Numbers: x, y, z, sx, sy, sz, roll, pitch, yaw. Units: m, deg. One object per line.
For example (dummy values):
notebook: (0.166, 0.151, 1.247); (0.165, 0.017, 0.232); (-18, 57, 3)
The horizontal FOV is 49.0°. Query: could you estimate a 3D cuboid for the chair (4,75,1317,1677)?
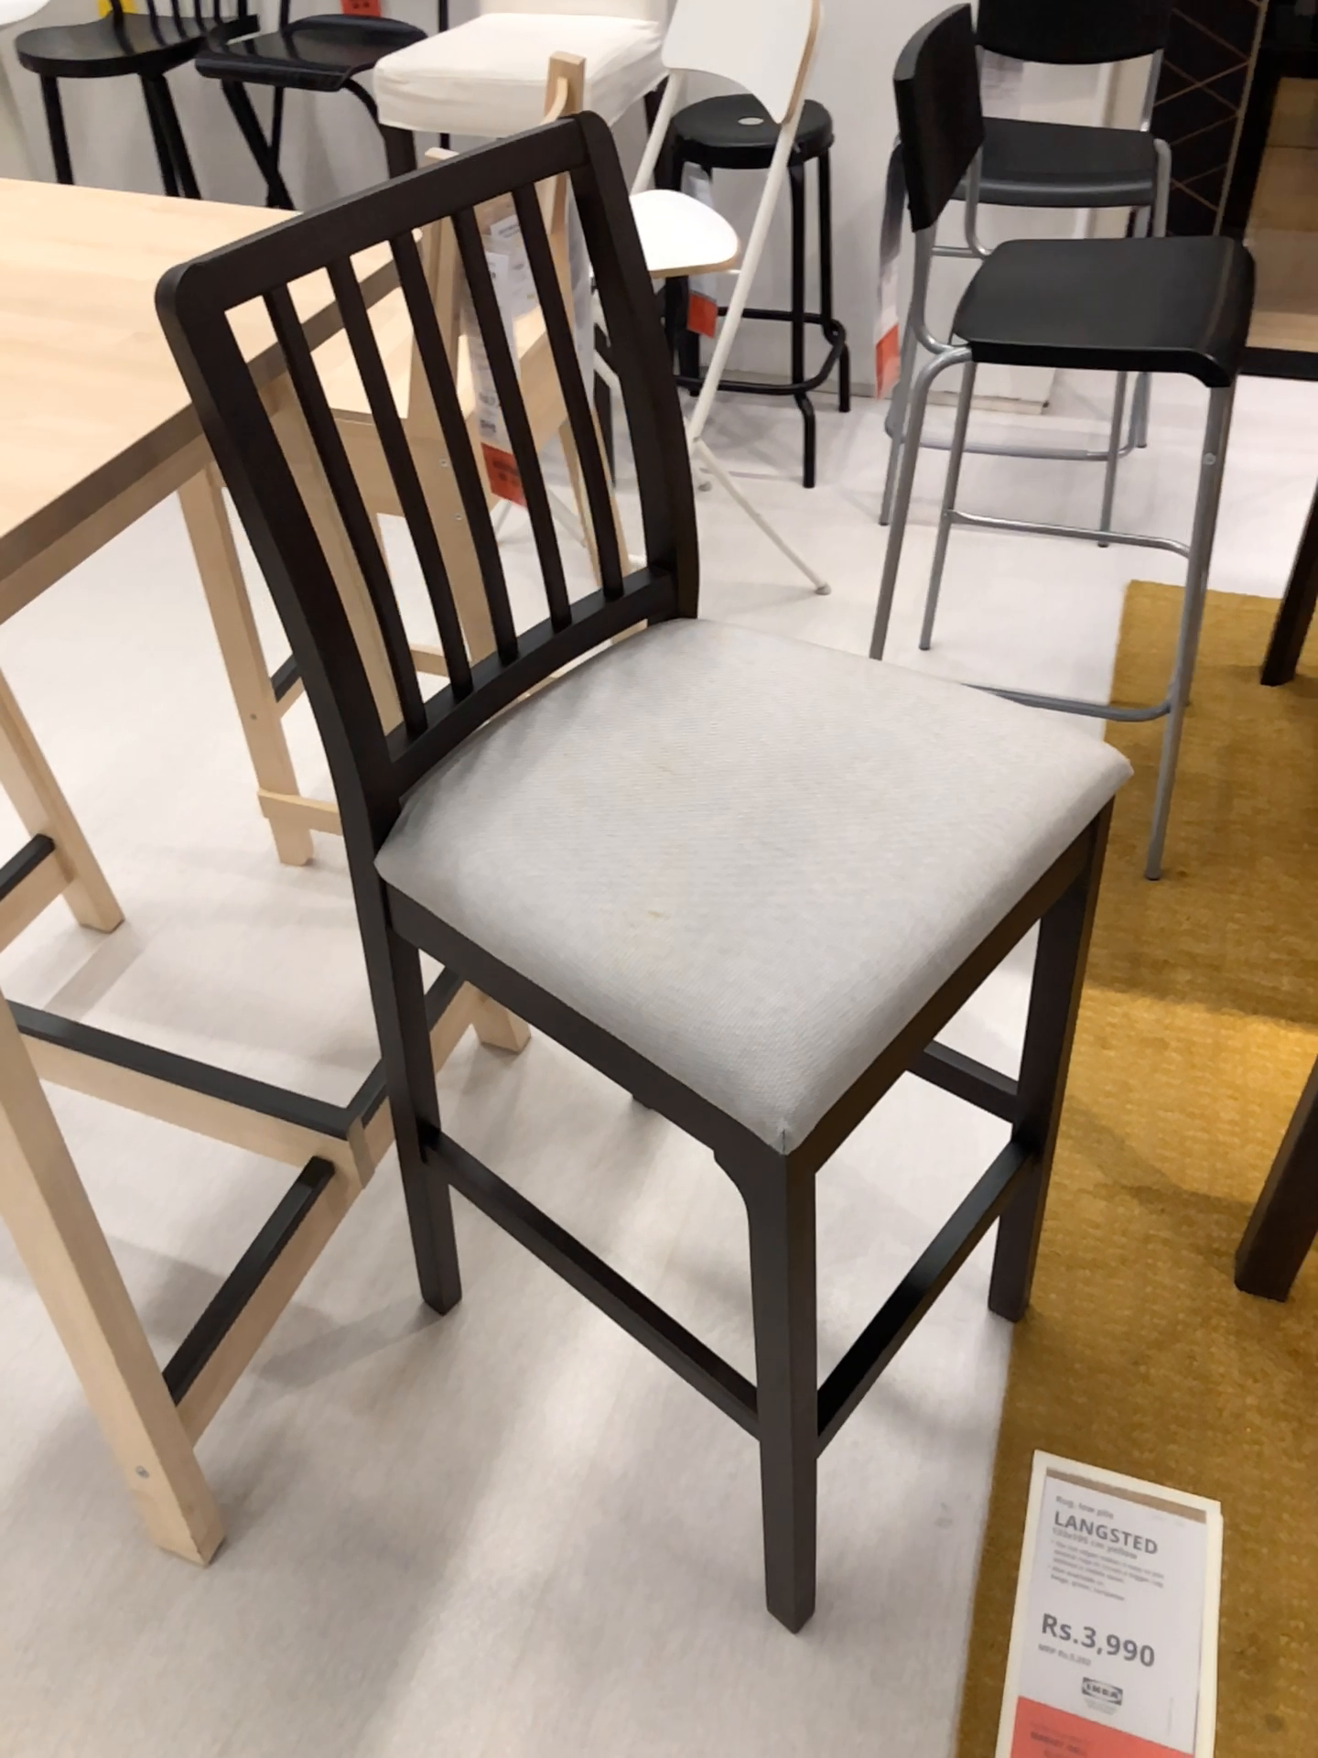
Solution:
chair: (0.029, 0.055, 1.169); (0.562, 1.093, 0.482); (28, 51, 29)
